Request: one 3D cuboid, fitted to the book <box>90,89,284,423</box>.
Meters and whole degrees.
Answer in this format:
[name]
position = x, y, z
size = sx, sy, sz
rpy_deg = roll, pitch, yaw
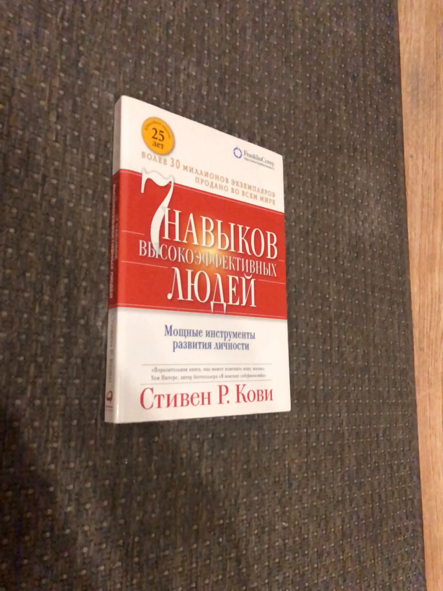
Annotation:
[book]
position = -0.018, -0.024, 0.395
size = 0.167, 0.020, 0.236
rpy_deg = 7, 78, -38
